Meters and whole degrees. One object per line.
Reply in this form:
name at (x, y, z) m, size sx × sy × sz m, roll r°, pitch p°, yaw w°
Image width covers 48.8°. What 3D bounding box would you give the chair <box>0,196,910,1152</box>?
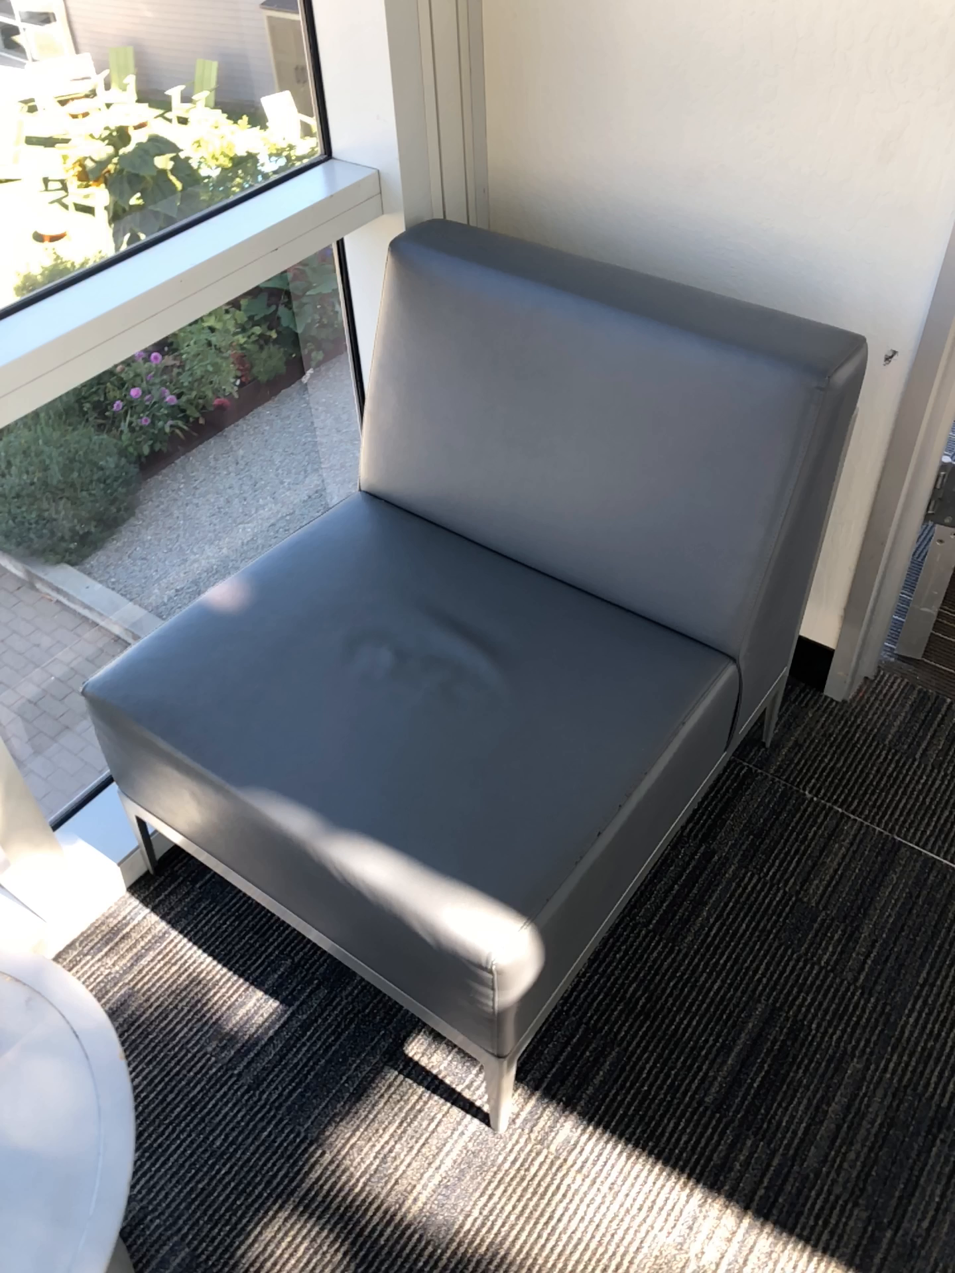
chair at (-0.040, -0.016, 1.380) m, size 0.772 × 0.707 × 0.751 m, roll 27°, pitch 51°, yaw 28°
